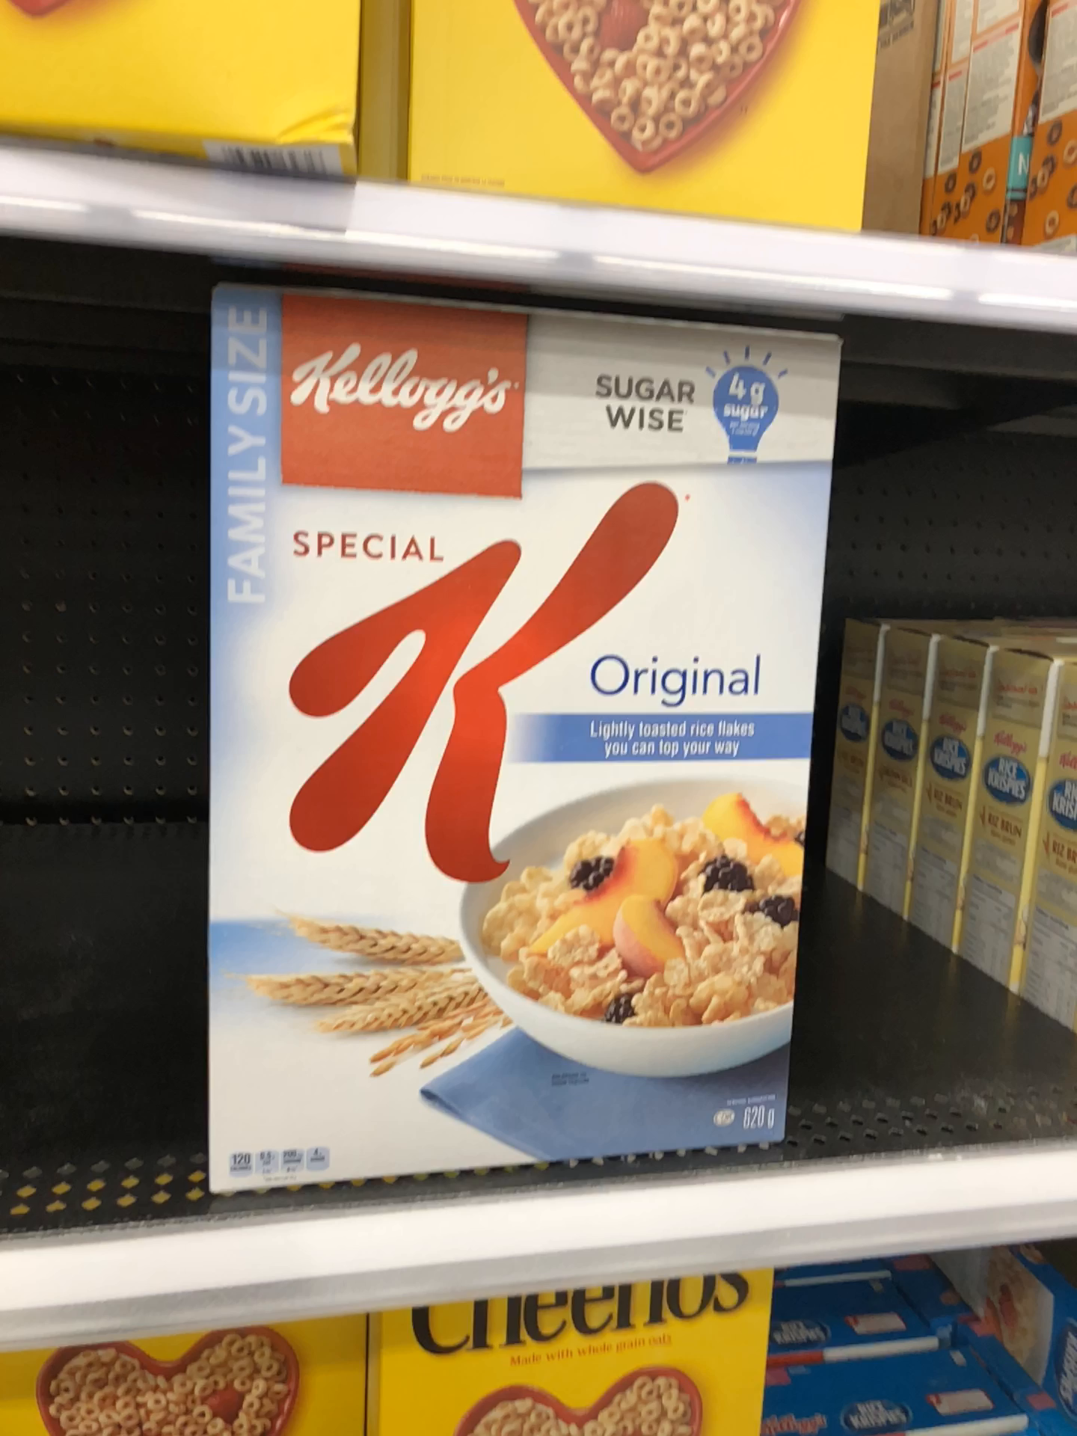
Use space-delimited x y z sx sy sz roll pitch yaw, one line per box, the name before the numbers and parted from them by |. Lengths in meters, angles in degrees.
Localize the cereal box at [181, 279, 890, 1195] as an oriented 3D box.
cereal box | -0.009 0.010 0.489 0.260 0.329 0.080 0 10 -14
